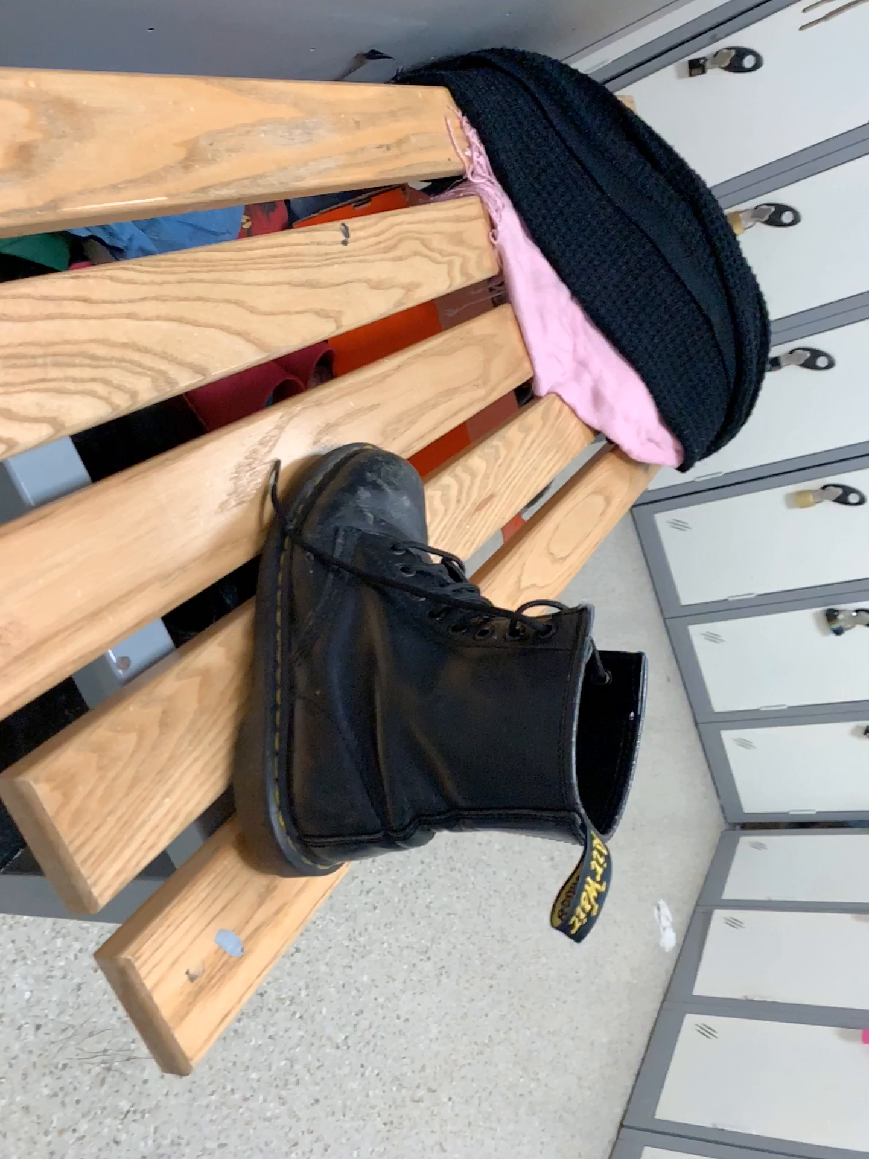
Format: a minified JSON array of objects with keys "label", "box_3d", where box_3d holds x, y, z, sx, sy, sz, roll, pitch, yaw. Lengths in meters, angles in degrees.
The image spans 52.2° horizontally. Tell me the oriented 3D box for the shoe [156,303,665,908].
[{"label":"shoe","box_3d":[0.001,0.019,0.462,0.107,0.199,0.262,41,48,-43]}]
